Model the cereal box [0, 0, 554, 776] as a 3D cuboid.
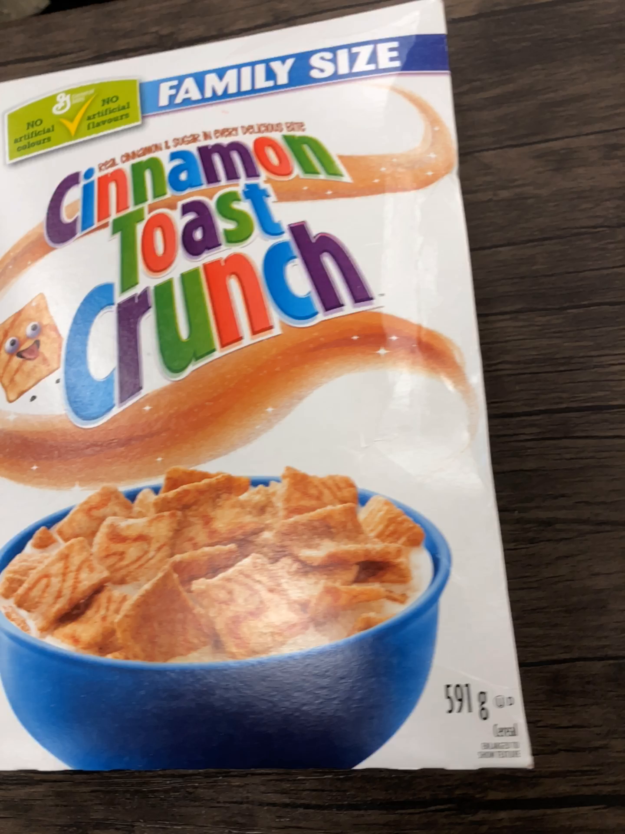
[{"bbox_3d":[-0.044,-0.034,0.338,0.250,0.070,0.360,-5,74,8],"label":"cereal box"}]
